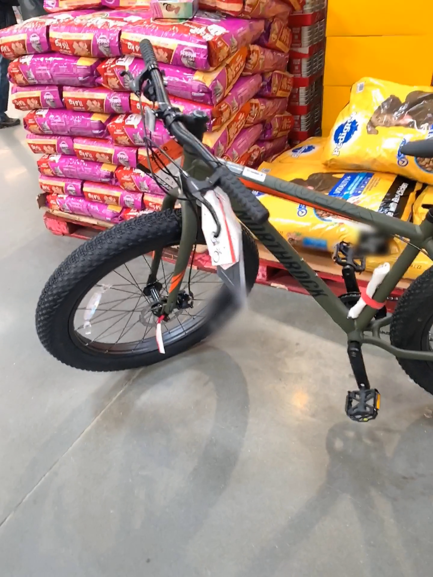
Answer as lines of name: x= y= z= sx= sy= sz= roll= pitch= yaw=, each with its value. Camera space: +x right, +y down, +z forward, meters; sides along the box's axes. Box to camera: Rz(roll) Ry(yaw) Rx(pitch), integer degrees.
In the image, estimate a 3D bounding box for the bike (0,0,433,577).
bike: x=0.344 y=0.053 z=0.831 sx=1.712 sy=1.203 sz=0.595 roll=1 pitch=36 yaw=-3
